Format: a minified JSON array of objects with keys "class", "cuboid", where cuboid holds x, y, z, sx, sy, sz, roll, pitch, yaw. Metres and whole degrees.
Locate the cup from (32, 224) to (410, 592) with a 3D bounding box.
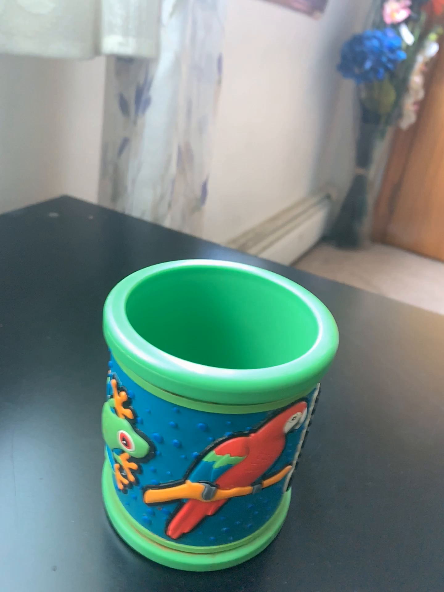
[{"class":"cup","cuboid":[0.001,0.040,0.195,0.080,0.099,0.121,29,35,34]}]
